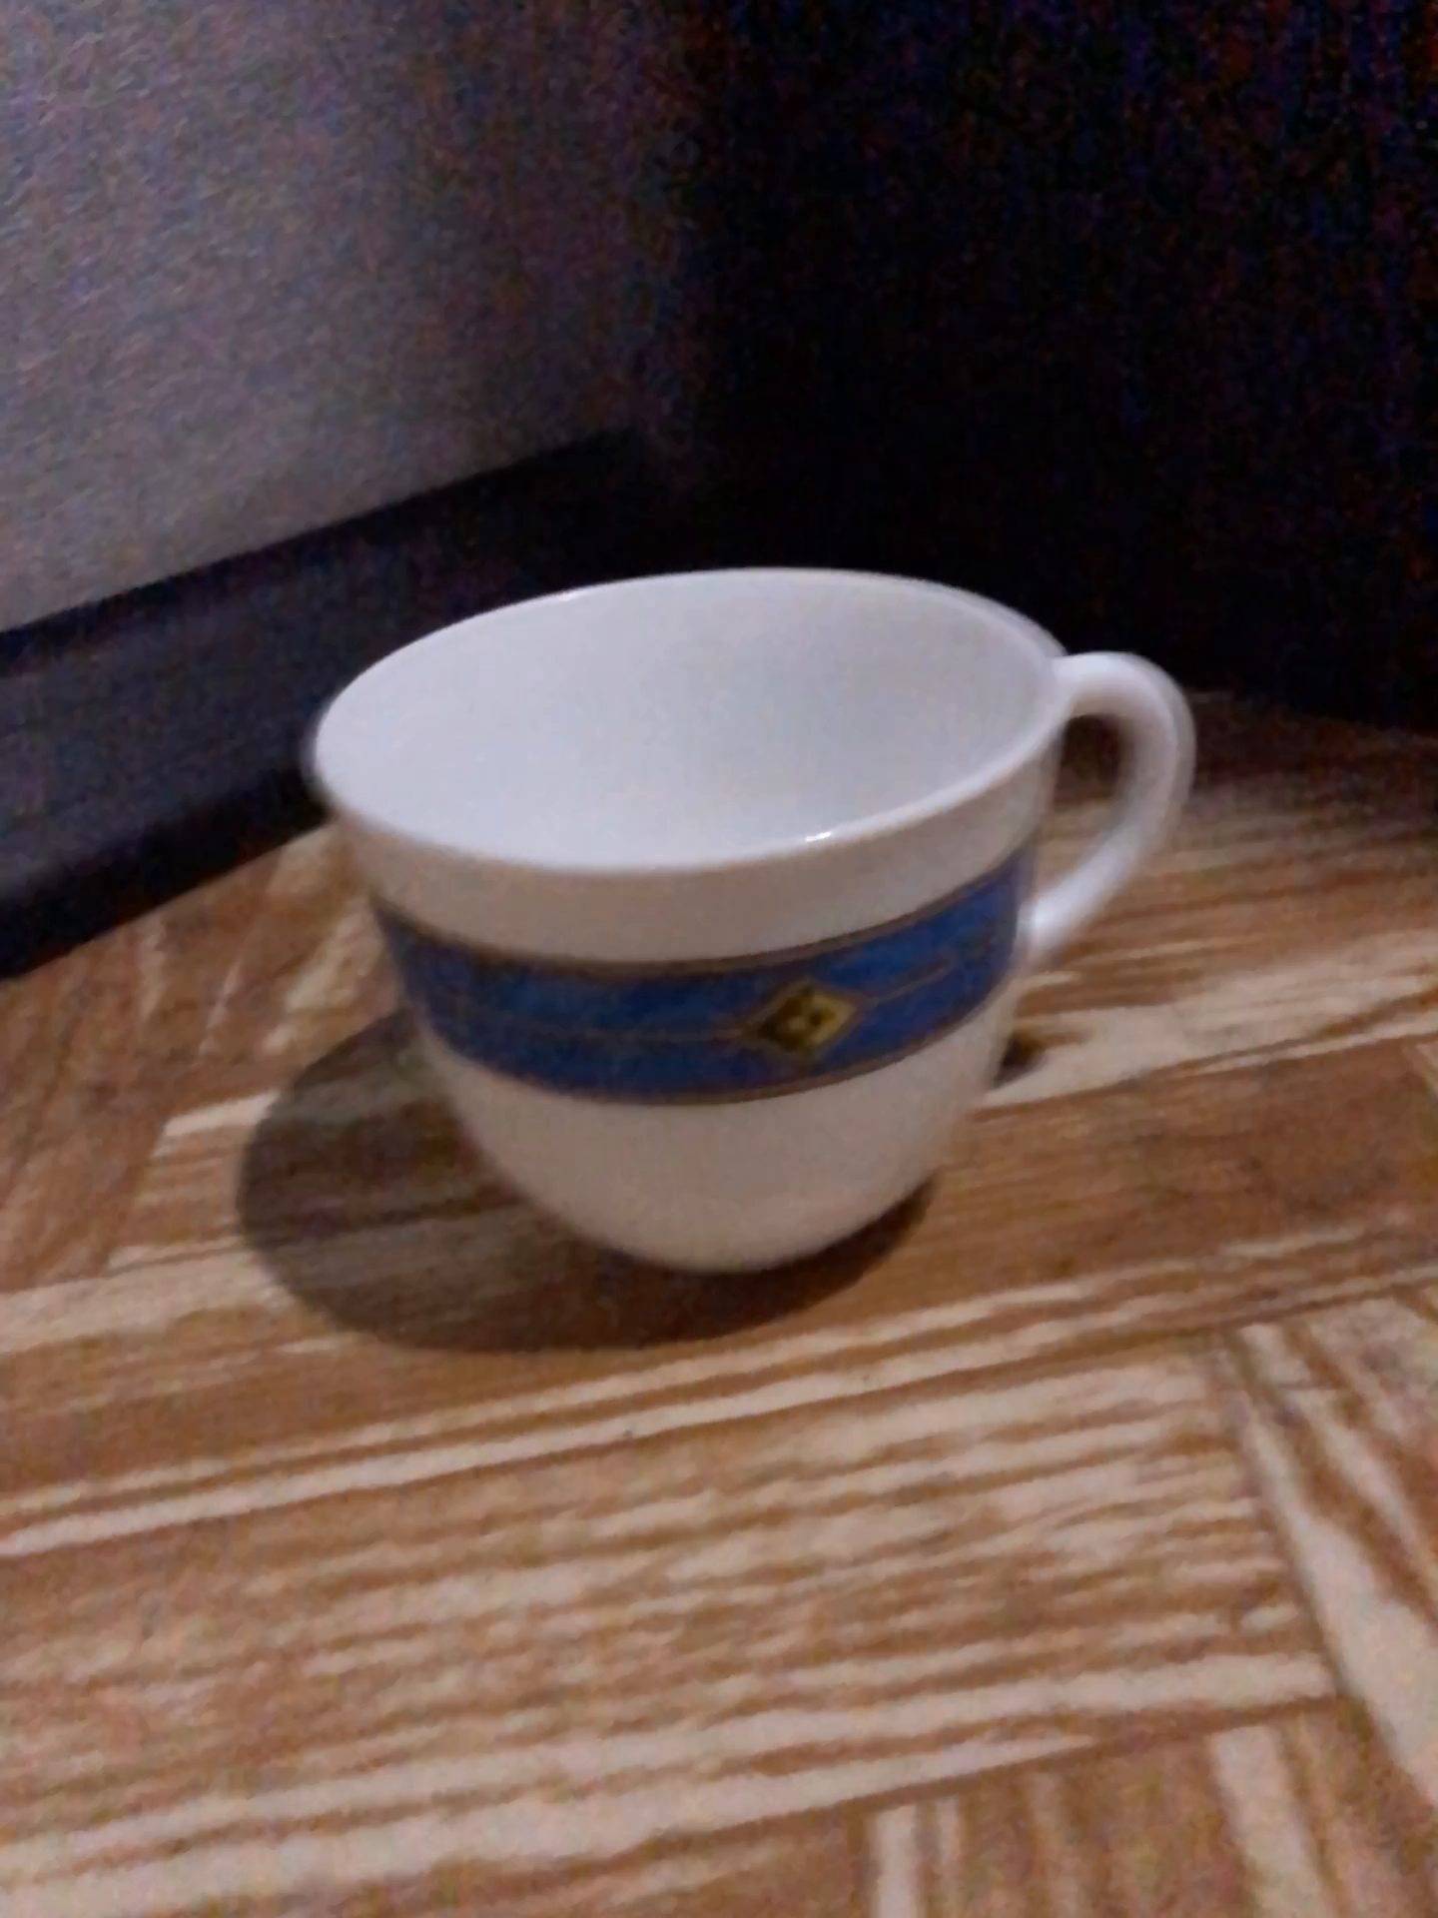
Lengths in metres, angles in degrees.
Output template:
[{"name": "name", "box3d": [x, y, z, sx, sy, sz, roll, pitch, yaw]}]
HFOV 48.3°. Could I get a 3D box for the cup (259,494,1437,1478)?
[{"name": "cup", "box3d": [0.011, -0.008, 0.196, 0.110, 0.062, 0.088, -14, 31, -16]}]
